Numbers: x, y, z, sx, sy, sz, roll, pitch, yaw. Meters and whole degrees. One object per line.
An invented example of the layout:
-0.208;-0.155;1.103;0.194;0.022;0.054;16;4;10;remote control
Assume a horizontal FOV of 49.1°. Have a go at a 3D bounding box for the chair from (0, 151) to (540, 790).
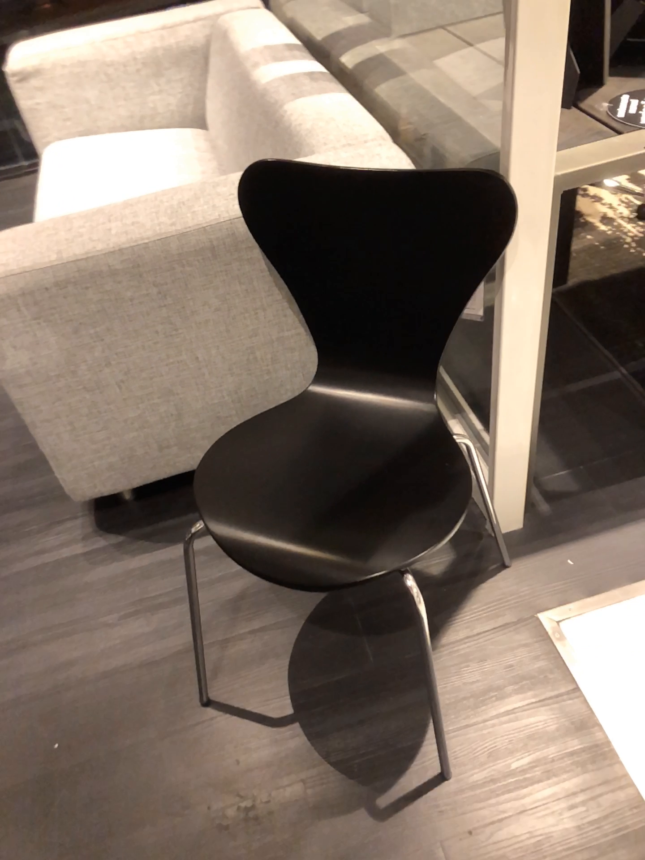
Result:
0.019;0.074;1.096;0.491;0.804;0.503;9;46;20;chair
